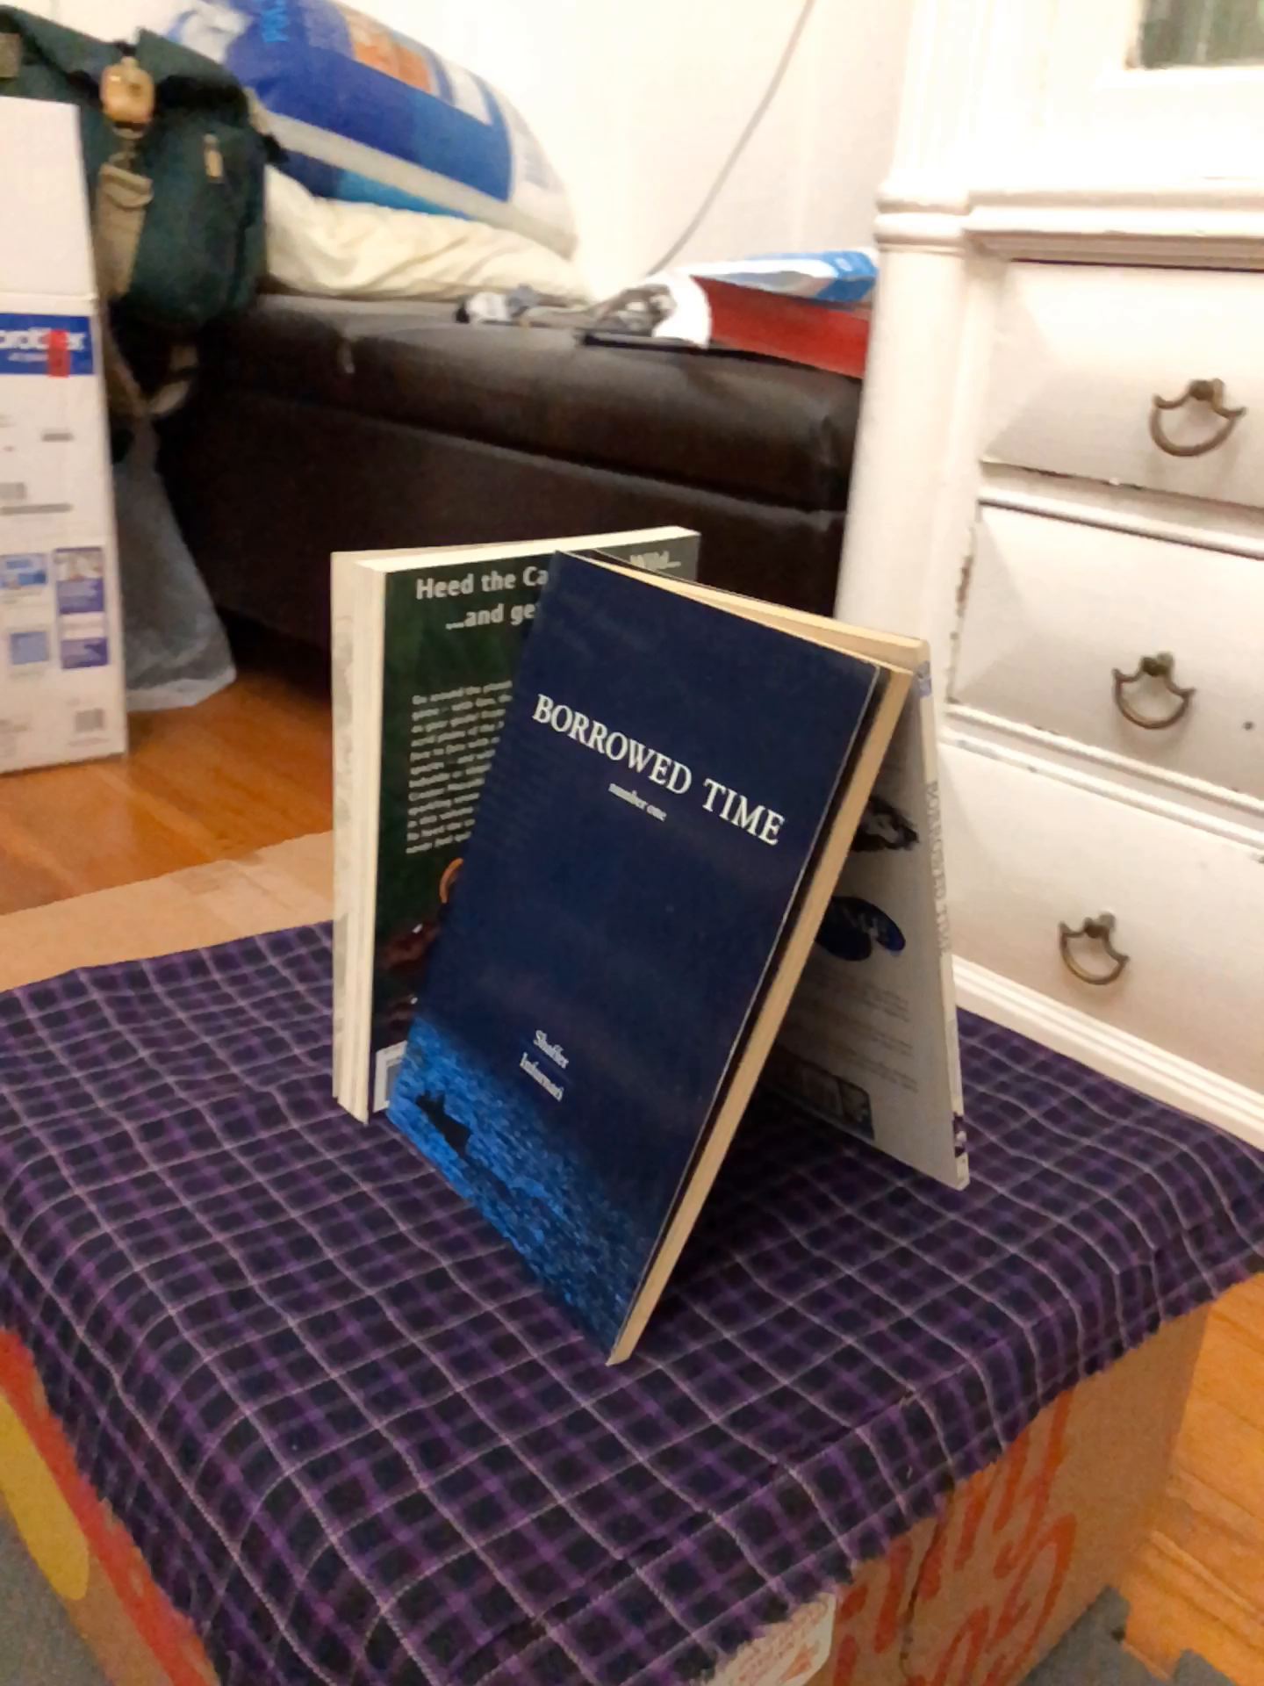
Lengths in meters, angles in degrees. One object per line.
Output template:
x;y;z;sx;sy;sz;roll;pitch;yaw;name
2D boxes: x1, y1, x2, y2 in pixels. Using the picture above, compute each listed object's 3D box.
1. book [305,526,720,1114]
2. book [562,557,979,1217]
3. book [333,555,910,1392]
-0.041;-0.011;0.484;0.140;0.189;0.020;-15;35;-42;book
0.046;0.015;0.448;0.010;0.199;0.140;-33;38;-30;book
-0.016;0.027;0.411;0.010;0.200;0.150;13;11;-44;book
